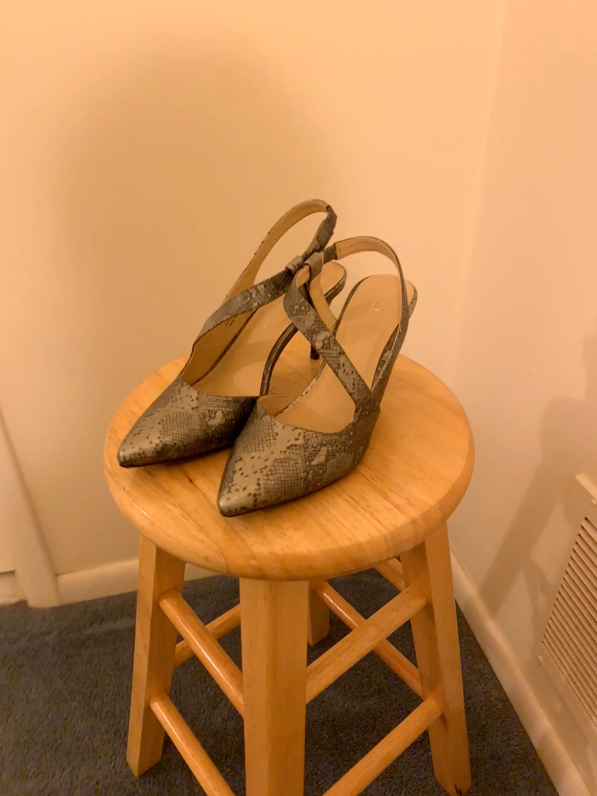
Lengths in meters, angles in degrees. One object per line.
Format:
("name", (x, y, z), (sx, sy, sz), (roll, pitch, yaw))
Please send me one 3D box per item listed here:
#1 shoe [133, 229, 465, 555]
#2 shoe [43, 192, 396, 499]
("shoe", (0.017, -0.026, 0.443), (0.103, 0.106, 0.251), (20, 39, 28))
("shoe", (-0.040, -0.062, 0.488), (0.100, 0.125, 0.270), (24, 41, 31))
